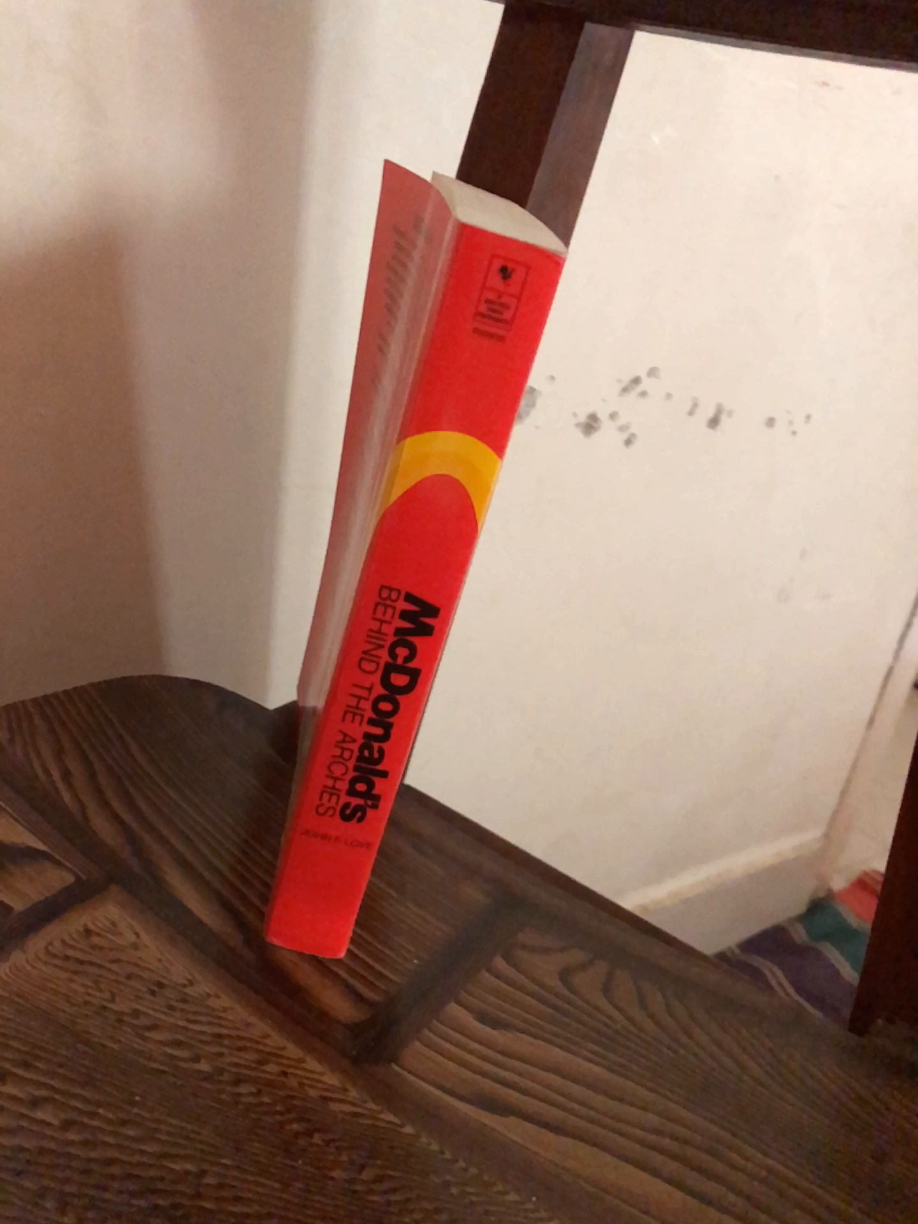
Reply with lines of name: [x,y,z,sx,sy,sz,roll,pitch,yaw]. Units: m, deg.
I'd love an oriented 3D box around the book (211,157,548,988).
book: [-0.029,-0.029,0.368,0.040,0.239,0.191,13,21,-6]
